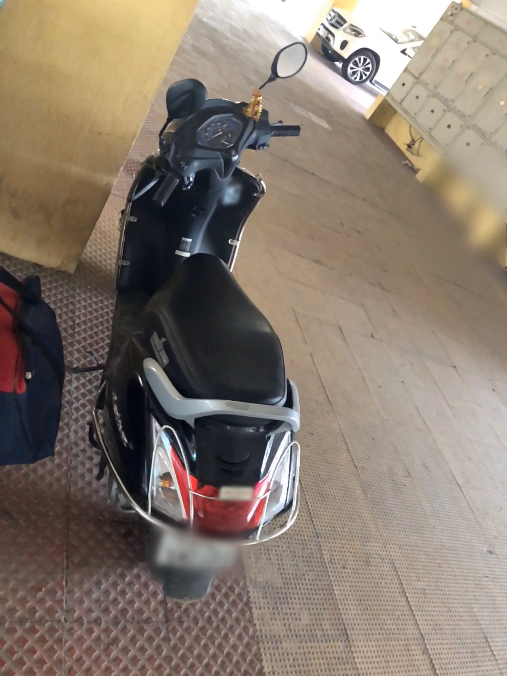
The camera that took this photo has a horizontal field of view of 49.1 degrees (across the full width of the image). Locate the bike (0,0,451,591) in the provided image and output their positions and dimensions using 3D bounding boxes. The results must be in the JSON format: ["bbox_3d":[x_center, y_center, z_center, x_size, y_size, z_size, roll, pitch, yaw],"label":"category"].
[{"bbox_3d":[-0.315,-0.269,1.715,0.622,0.883,1.665,14,38,-33],"label":"bike"}]
